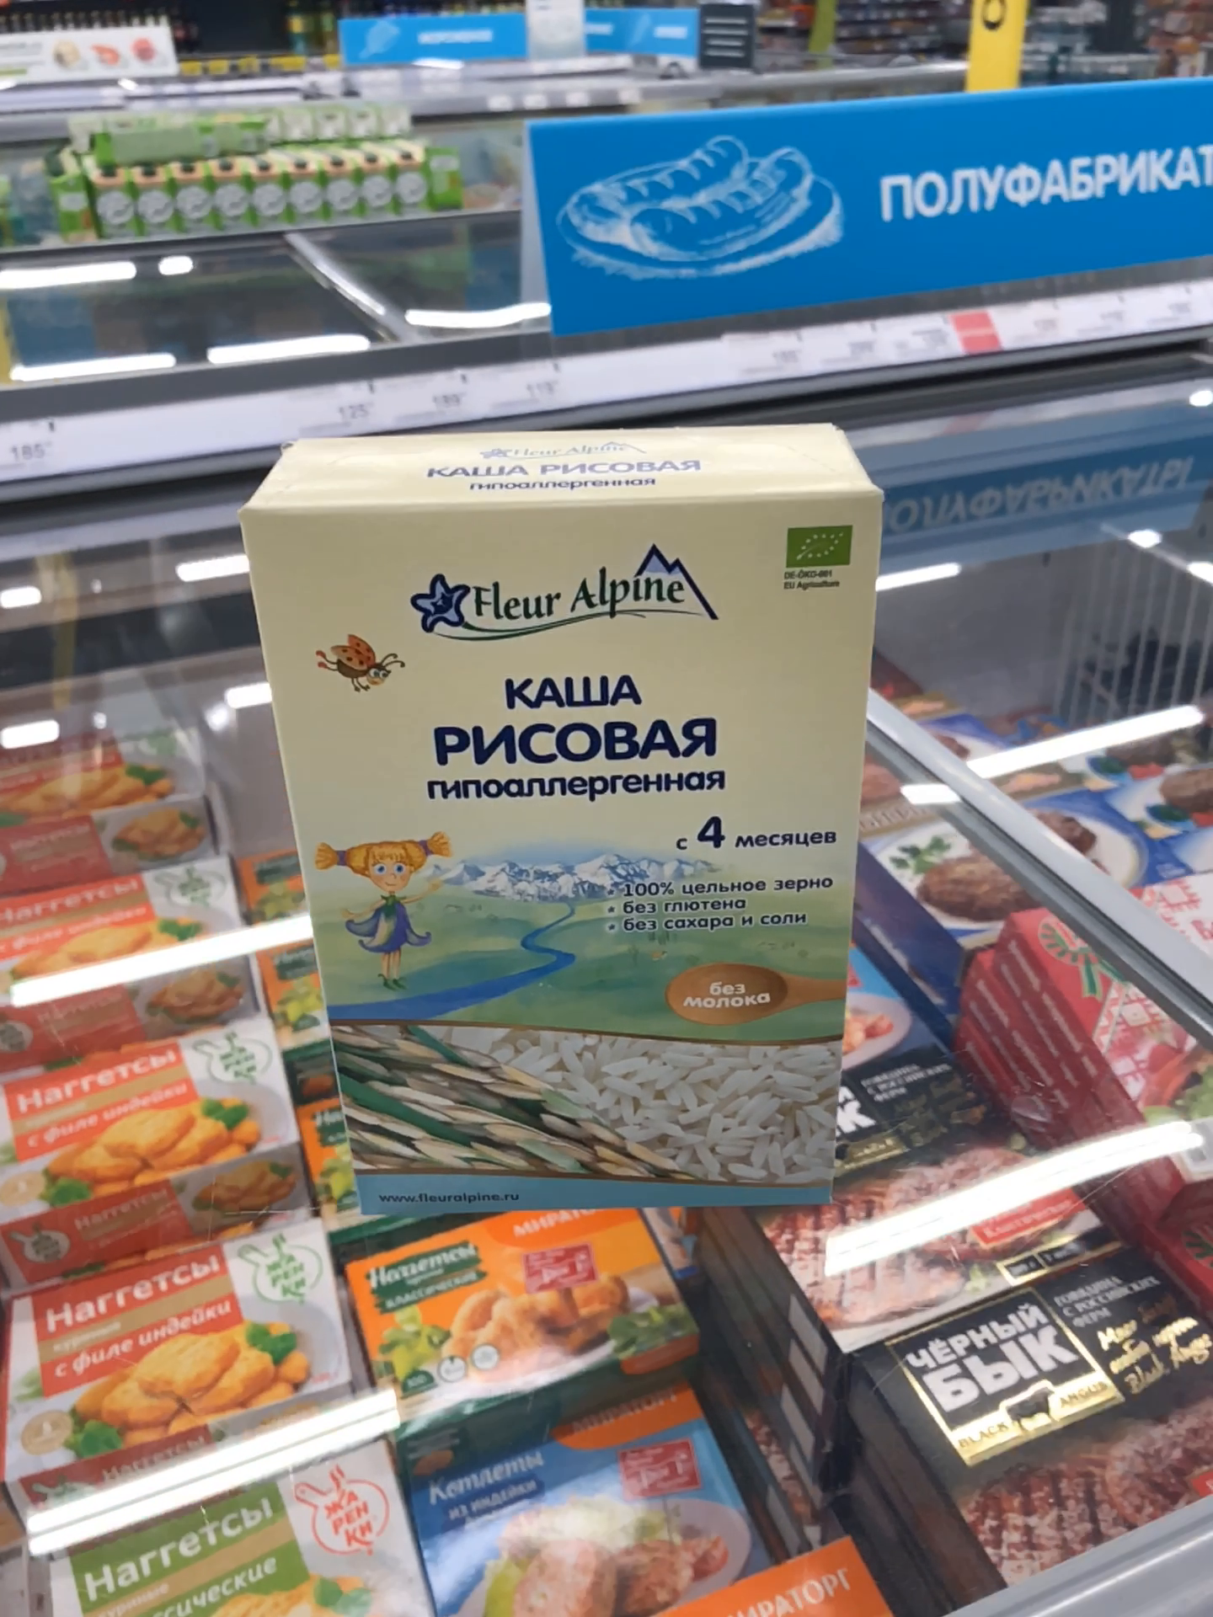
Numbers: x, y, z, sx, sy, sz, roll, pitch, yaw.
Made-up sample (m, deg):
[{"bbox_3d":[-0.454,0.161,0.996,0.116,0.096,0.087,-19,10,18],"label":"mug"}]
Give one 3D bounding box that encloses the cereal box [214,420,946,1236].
[{"bbox_3d":[-0.002,0.014,0.329,0.140,0.199,0.050,-2,31,1],"label":"cereal box"}]
